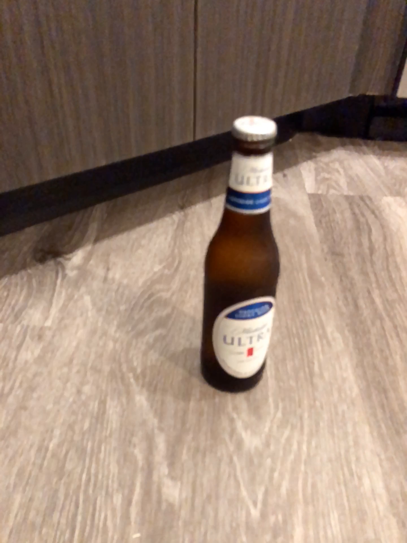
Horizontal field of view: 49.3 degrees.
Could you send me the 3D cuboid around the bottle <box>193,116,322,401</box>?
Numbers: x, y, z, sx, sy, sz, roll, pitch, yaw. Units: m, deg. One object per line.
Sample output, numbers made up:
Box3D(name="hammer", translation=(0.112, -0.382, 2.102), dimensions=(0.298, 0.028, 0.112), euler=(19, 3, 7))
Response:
Box3D(name="bottle", translation=(0.029, 0.001, 0.331), dimensions=(0.060, 0.209, 0.060), euler=(1, 36, -1))
